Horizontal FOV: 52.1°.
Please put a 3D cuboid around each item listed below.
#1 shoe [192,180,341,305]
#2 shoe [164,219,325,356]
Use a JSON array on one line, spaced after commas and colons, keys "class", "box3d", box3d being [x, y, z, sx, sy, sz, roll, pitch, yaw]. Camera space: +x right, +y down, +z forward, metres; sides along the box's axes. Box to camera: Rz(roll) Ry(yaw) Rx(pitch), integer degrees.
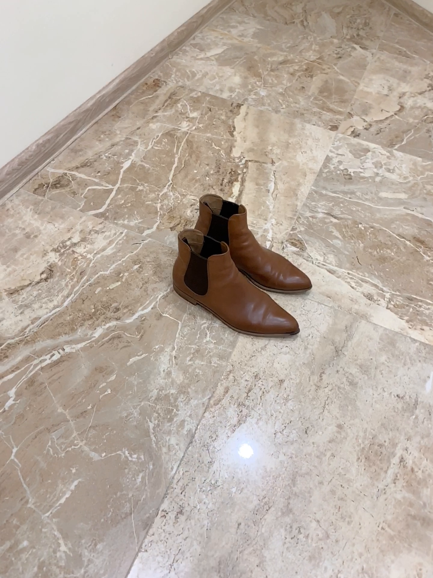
[{"class": "shoe", "box3d": [0.086, -0.090, 0.840, 0.250, 0.119, 0.090, 26, 53, 14]}, {"class": "shoe", "box3d": [0.041, -0.003, 0.773, 0.250, 0.129, 0.090, 23, 53, 12]}]
